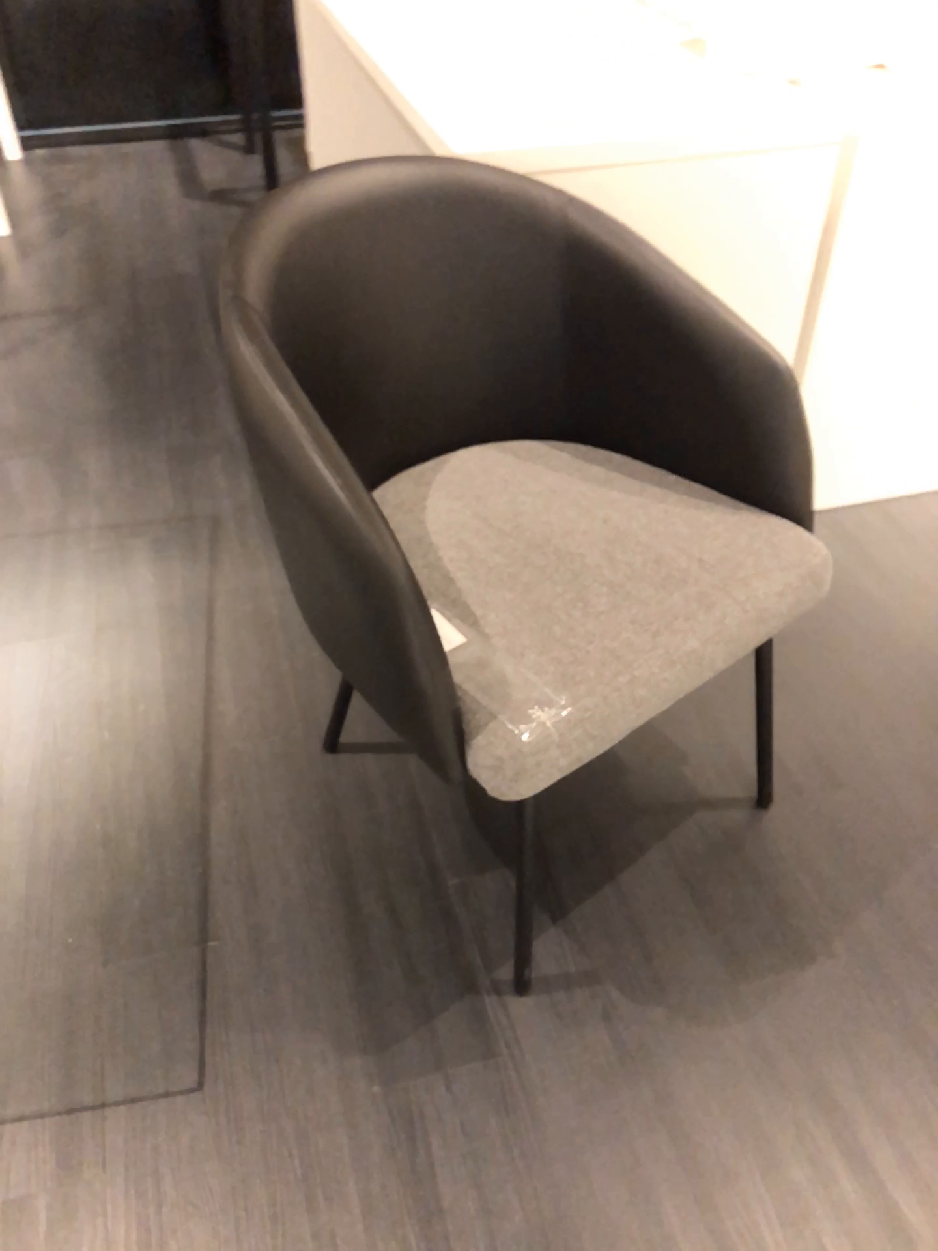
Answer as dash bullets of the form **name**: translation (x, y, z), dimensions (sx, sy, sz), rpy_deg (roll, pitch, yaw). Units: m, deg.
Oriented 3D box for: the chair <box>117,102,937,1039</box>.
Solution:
- **chair**: translation (0.074, -0.097, 1.250), dimensions (0.612, 0.764, 0.593), rpy_deg (-28, 48, -28)
